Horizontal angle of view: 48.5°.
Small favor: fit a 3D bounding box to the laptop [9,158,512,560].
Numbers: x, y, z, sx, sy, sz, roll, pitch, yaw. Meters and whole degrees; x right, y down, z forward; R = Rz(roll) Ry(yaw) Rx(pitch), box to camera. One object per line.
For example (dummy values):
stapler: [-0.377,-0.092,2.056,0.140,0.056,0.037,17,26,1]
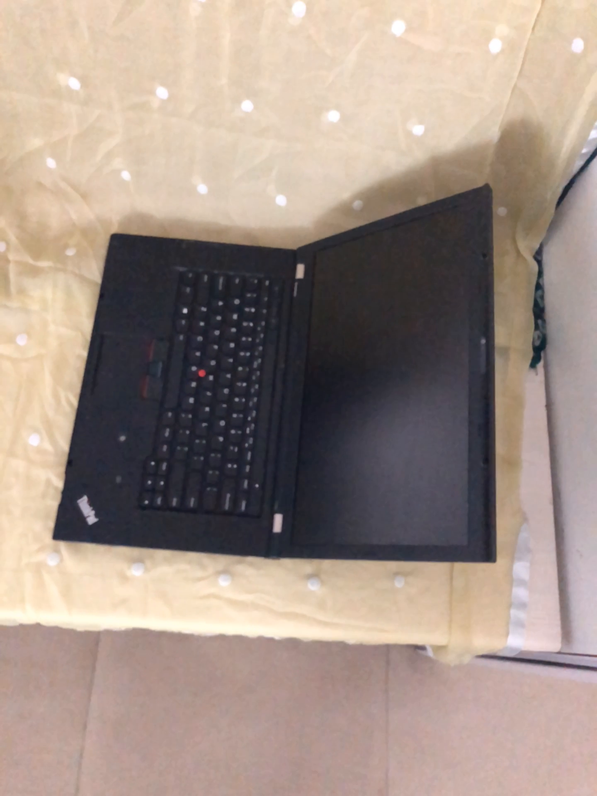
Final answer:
laptop: [-0.027,-0.037,0.682,0.424,0.156,0.348,4,72,2]
